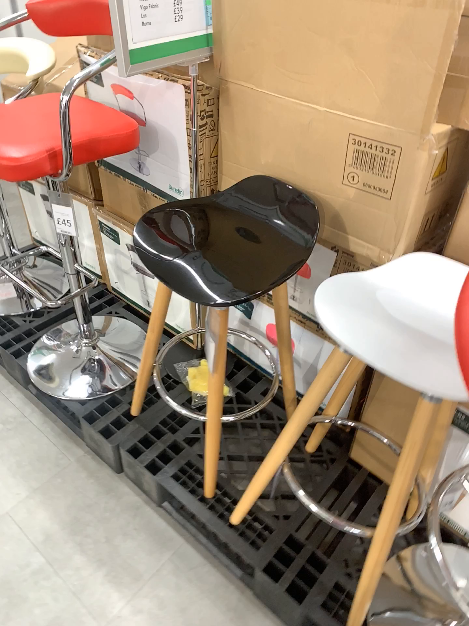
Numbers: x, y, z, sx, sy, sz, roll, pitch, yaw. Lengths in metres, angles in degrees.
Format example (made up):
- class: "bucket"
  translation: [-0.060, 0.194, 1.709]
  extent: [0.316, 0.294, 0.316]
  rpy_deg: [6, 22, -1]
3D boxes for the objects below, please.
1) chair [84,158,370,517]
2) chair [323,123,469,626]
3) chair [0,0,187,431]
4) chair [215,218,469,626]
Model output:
- class: "chair"
  translation: [-0.033, 0.047, 1.214]
  extent: [0.431, 0.673, 0.431]
  rpy_deg: [-27, 47, -34]
- class: "chair"
  translation: [0.542, 0.329, 0.706]
  extent: [0.510, 0.980, 0.452]
  rpy_deg: [26, 43, 27]
- class: "chair"
  translation: [-0.493, -0.285, 1.336]
  extent: [0.551, 1.029, 0.452]
  rpy_deg: [26, 43, 27]
- class: "chair"
  translation: [0.279, 0.242, 1.033]
  extent: [0.410, 0.663, 0.482]
  rpy_deg: [30, 44, 30]
